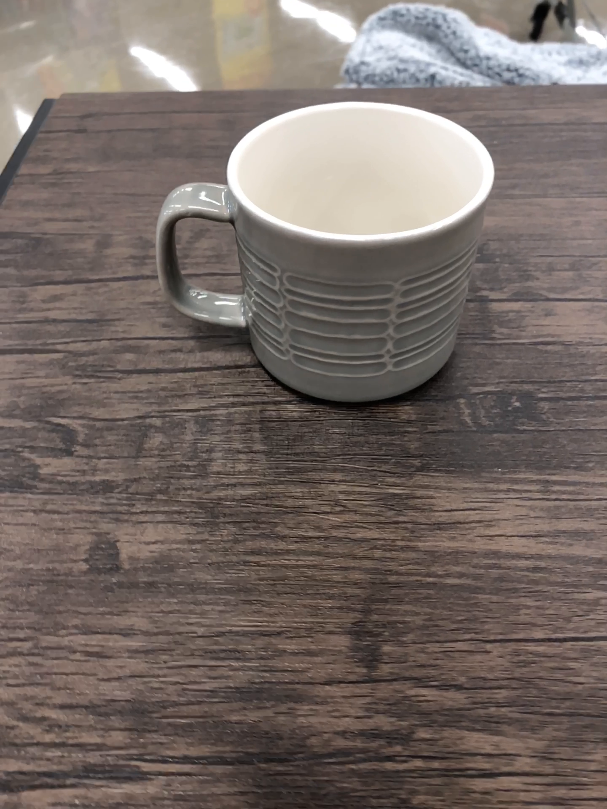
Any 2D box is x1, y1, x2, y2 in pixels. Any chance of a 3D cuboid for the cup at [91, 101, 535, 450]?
[{"bbox_3d":[0.008,-0.055,0.279,0.140,0.090,0.100,5,49,6],"label":"cup"}]
